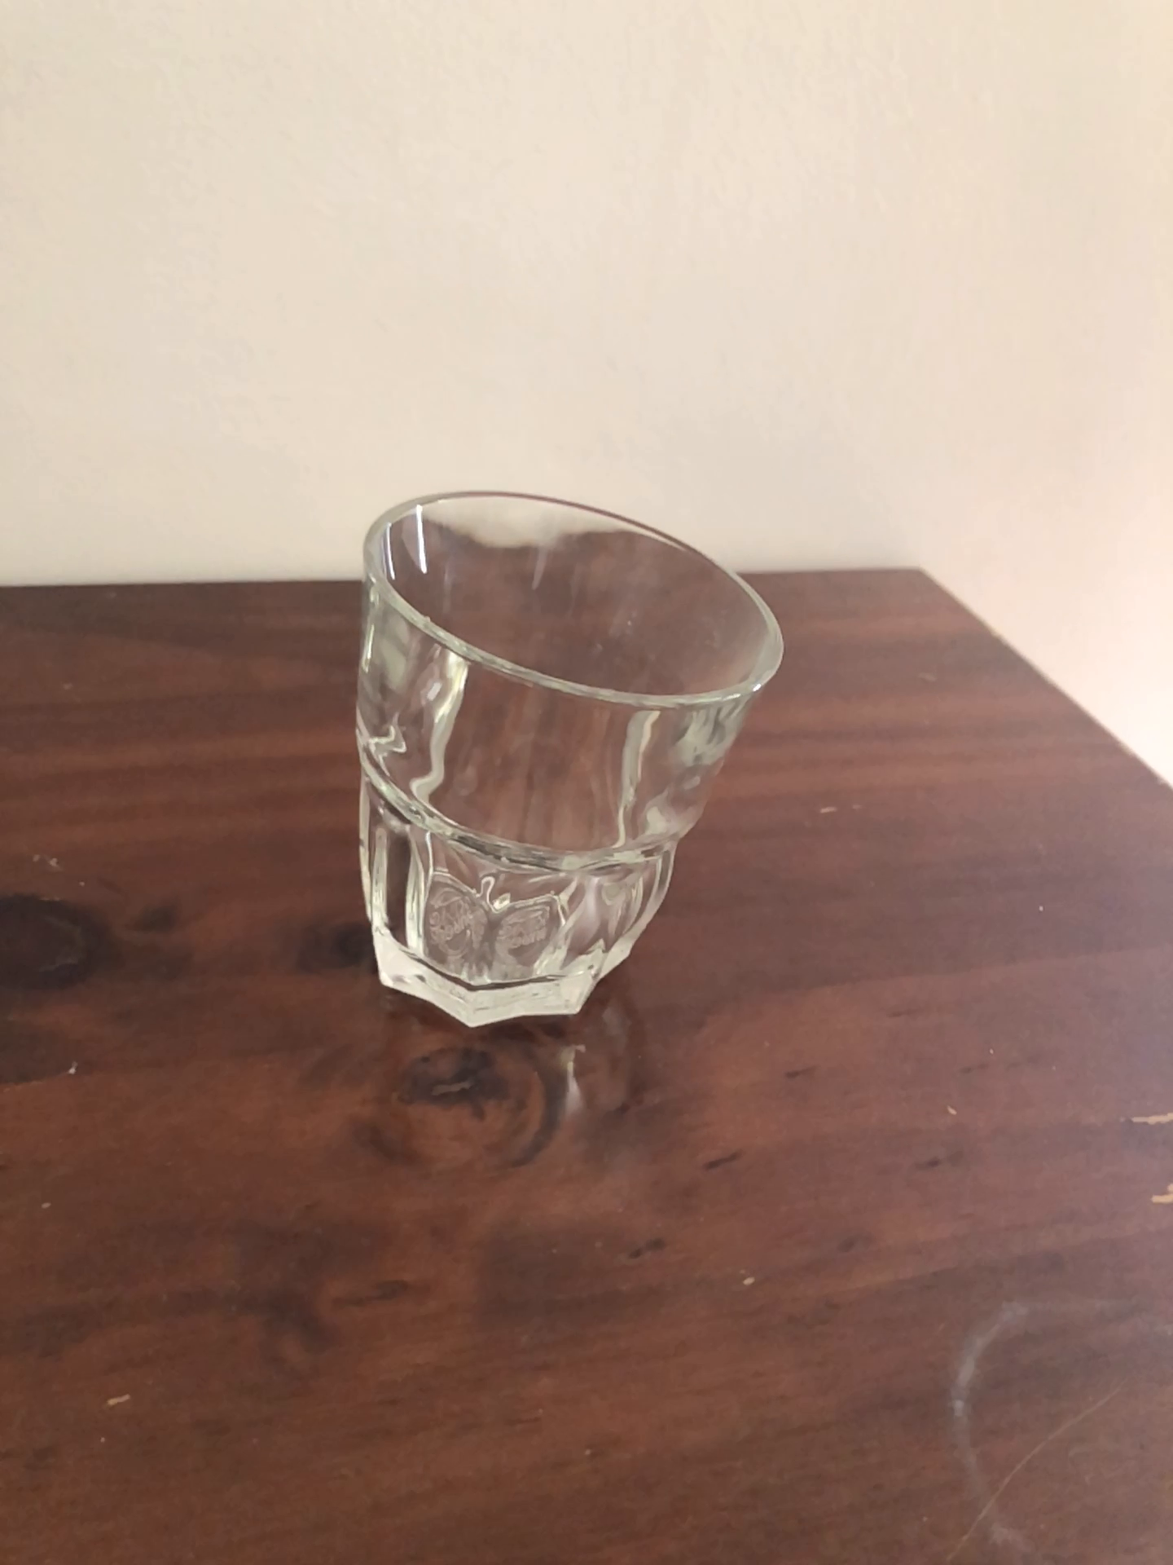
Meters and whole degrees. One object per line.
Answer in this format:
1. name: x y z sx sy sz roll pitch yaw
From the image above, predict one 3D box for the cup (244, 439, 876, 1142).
1. cup: -0.003 -0.004 0.273 0.100 0.095 0.090 13 32 9
